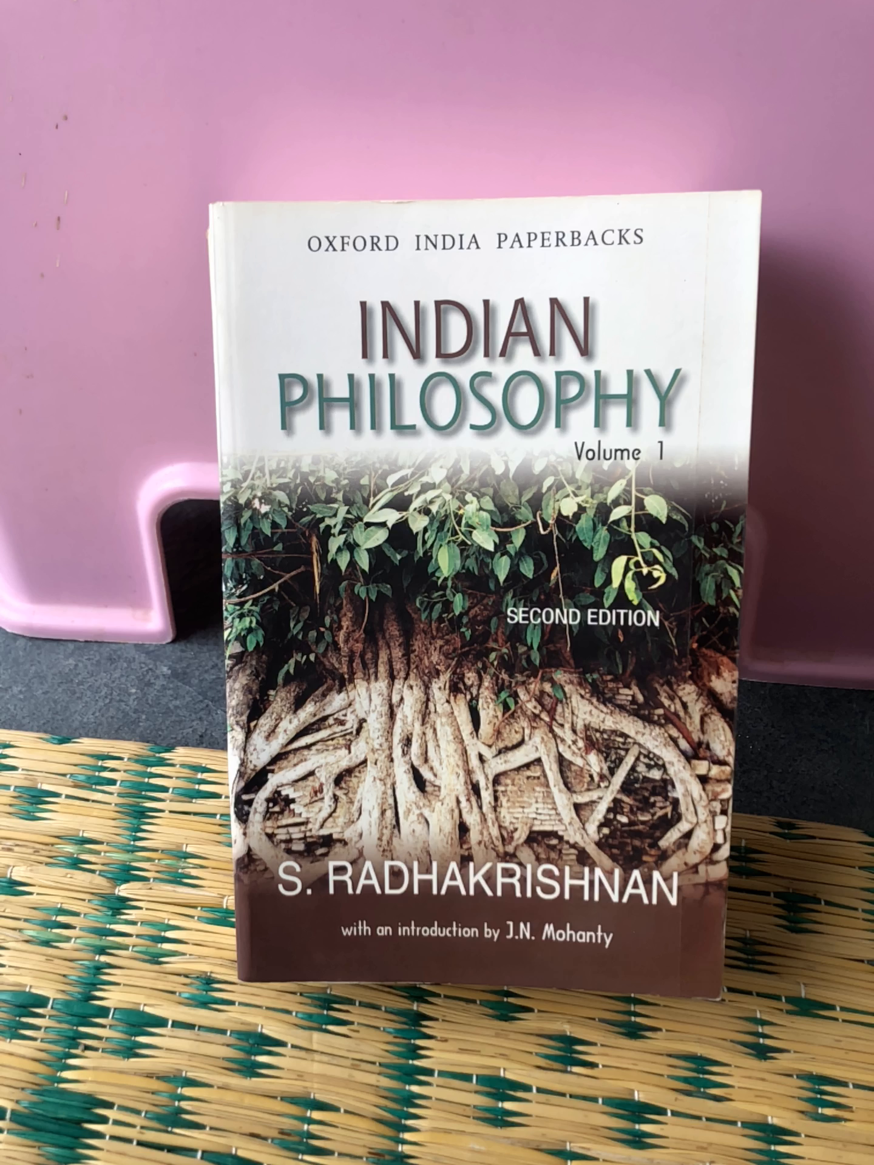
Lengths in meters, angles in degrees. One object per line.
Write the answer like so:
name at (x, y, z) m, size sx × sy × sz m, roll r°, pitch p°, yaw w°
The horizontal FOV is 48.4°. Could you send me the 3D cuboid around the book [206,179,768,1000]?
book at (0.012, 0.001, 0.285) m, size 0.140 × 0.210 × 0.070 m, roll 1°, pitch 4°, yaw 2°
